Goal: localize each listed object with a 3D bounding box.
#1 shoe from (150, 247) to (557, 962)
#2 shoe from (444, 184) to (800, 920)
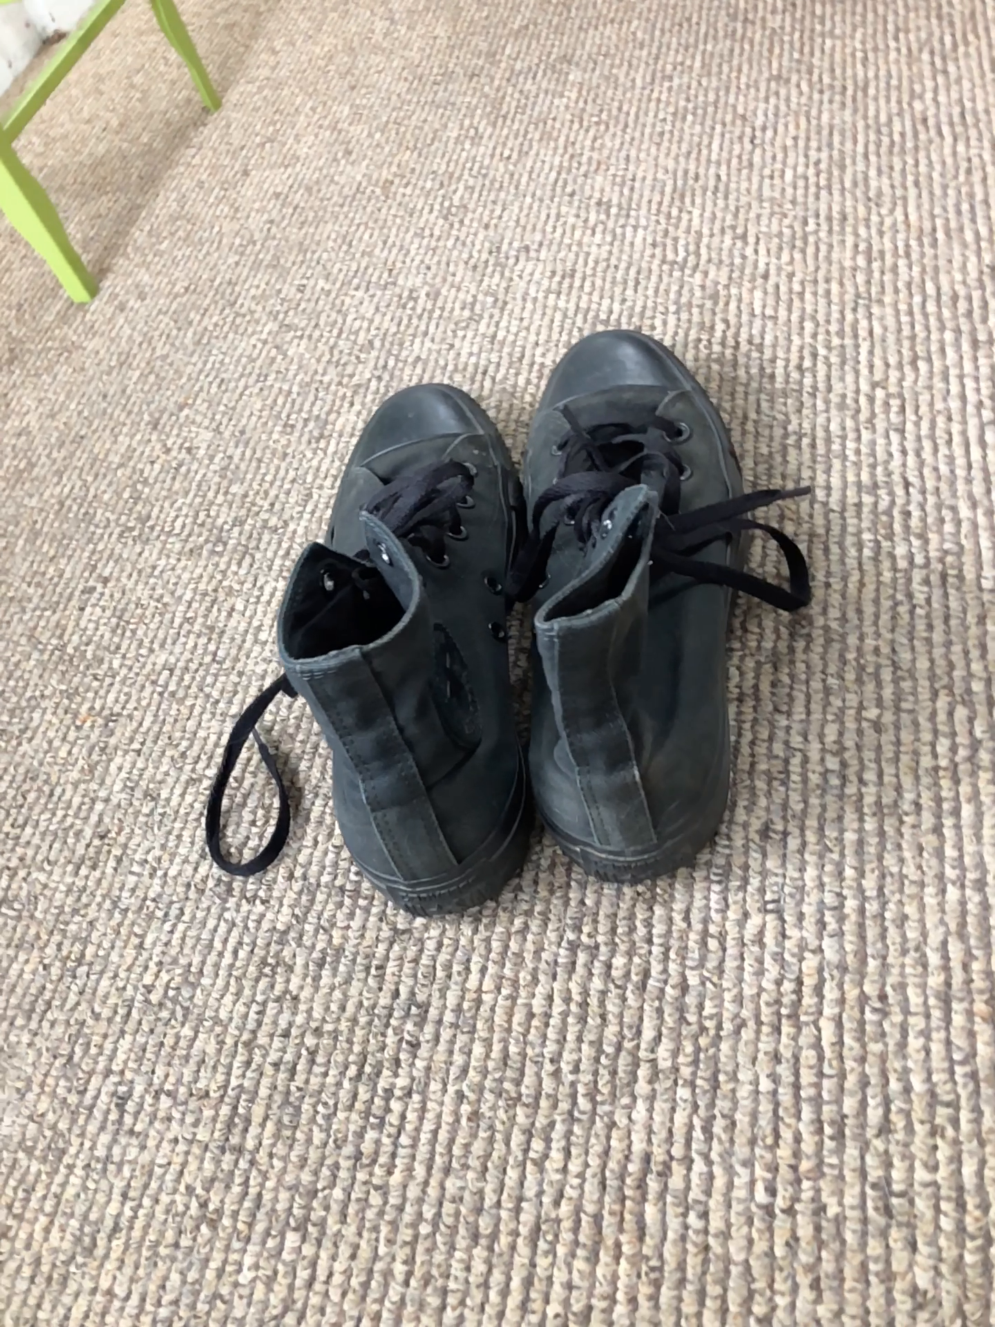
[{"bbox_3d":[-0.041,-0.028,0.423,0.088,0.126,0.237,-11,51,11],"label":"shoe"},{"bbox_3d":[0.047,-0.048,0.414,0.088,0.126,0.245,-9,51,13],"label":"shoe"}]
